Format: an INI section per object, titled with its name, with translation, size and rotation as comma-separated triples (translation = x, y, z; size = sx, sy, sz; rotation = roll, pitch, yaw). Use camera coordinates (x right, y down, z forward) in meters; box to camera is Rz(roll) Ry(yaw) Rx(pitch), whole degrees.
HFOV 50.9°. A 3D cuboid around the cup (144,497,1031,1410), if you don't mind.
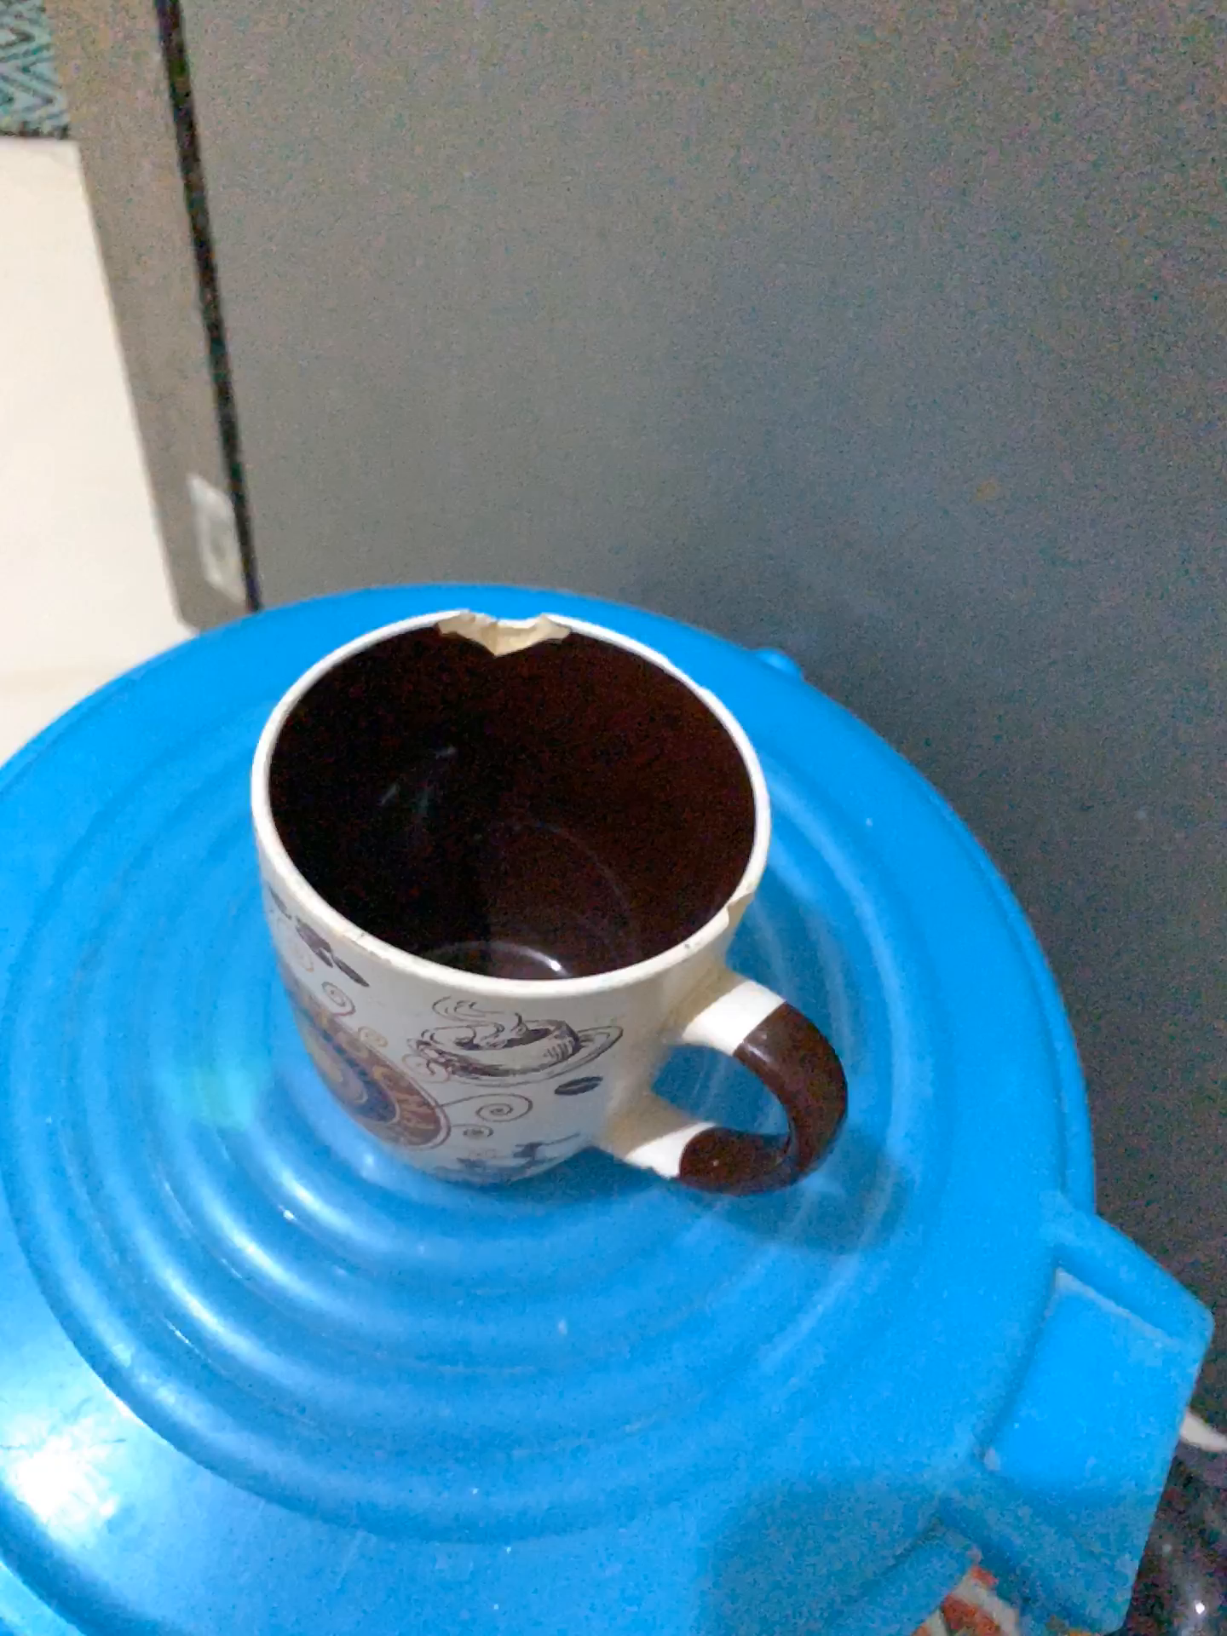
[cup]
translation = -0.009, 0.019, 0.223
size = 0.110, 0.079, 0.080
rotation = 41, 55, 22
